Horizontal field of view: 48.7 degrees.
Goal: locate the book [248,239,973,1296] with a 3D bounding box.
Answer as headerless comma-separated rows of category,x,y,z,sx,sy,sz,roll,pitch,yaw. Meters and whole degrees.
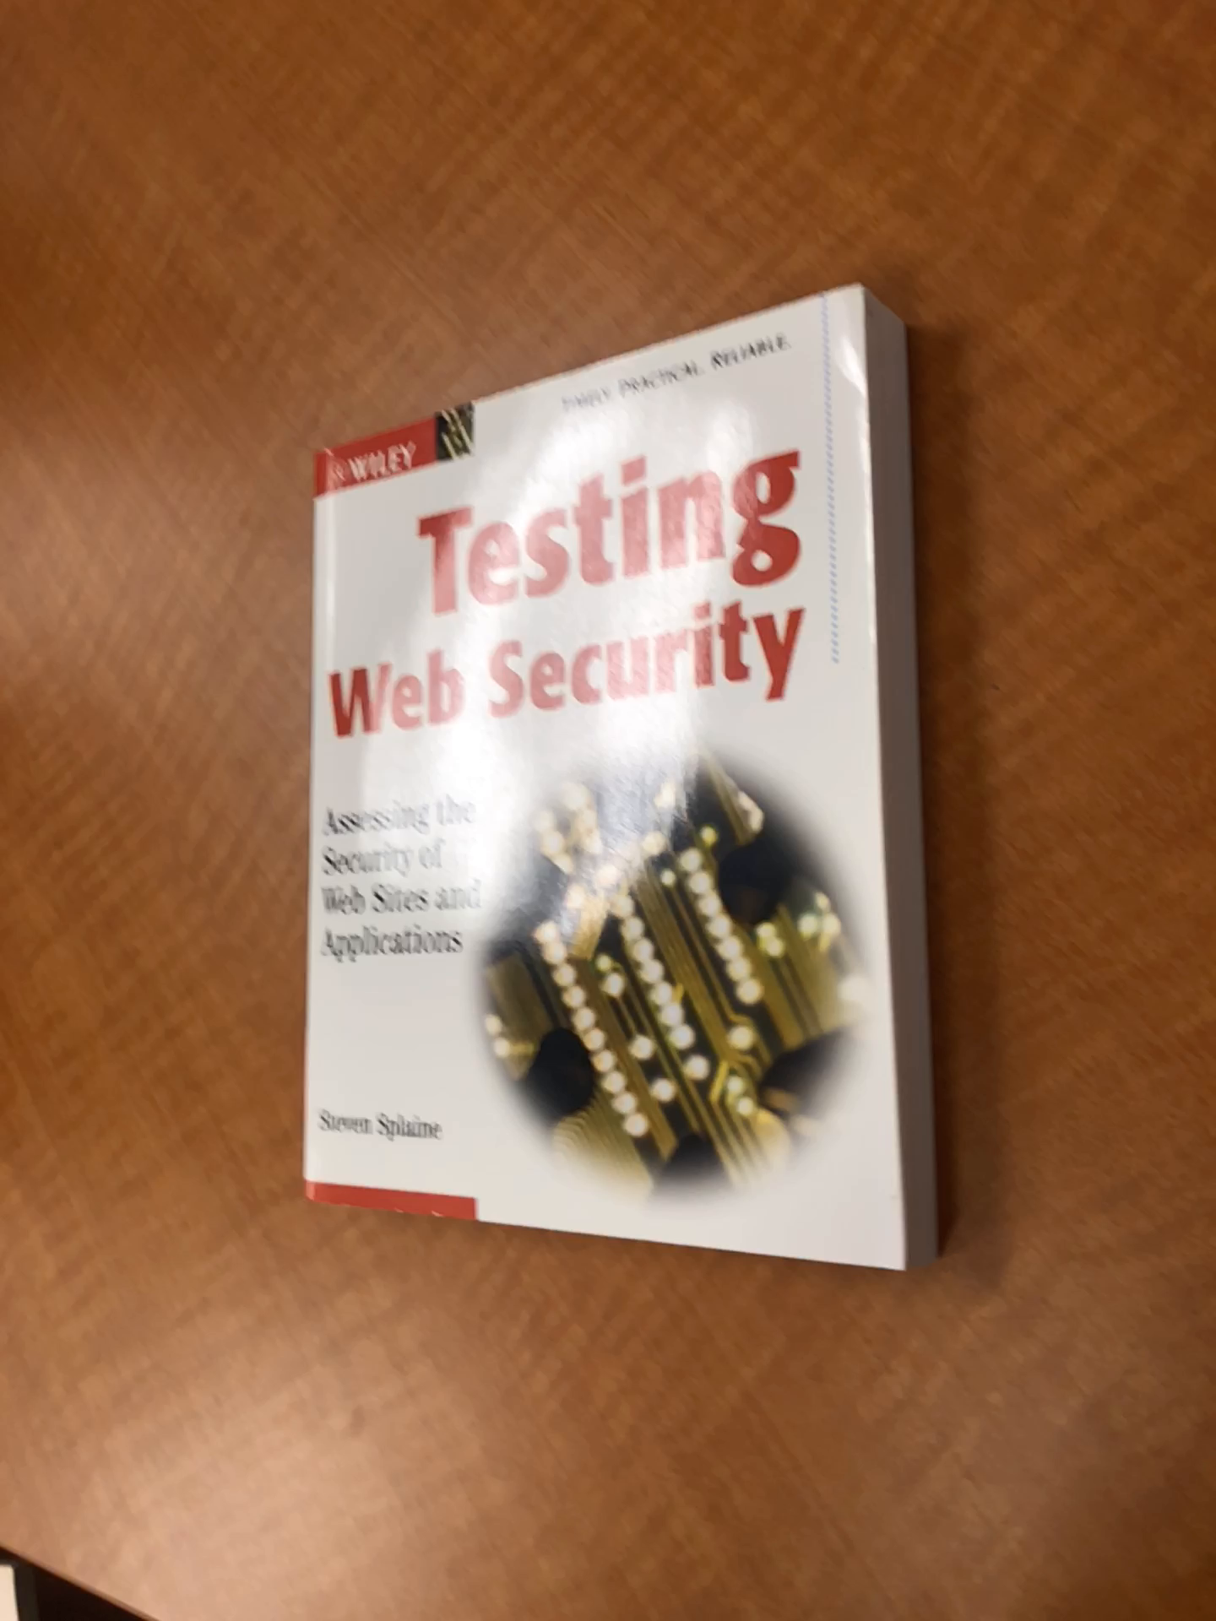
book,-0.011,-0.006,0.356,0.201,0.030,0.230,-5,81,33
